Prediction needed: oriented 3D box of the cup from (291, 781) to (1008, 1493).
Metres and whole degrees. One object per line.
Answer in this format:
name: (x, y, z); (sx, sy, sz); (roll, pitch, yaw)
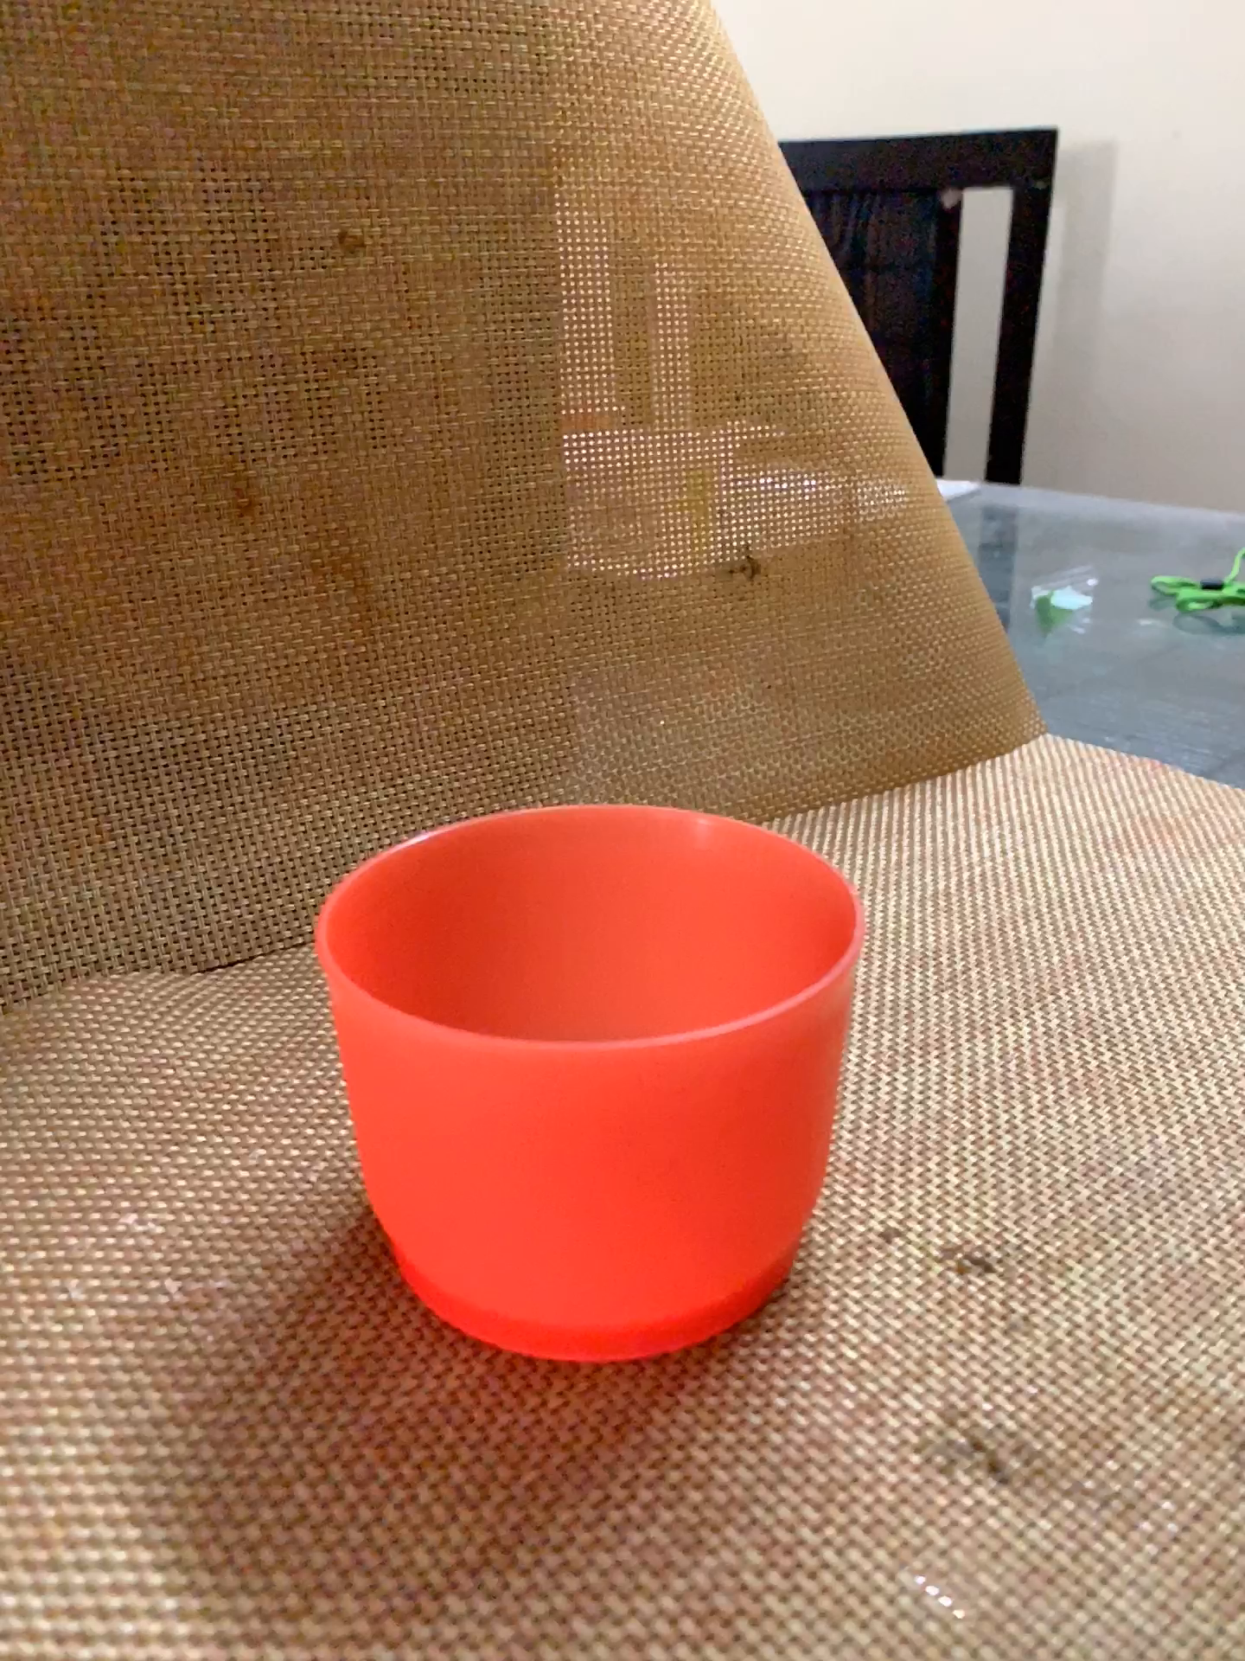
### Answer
cup: (-0.001, 0.033, 0.179); (0.070, 0.050, 0.070); (0, 22, 0)
